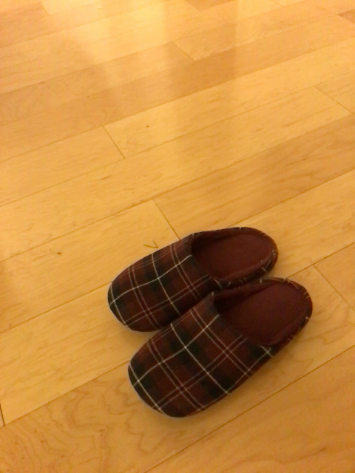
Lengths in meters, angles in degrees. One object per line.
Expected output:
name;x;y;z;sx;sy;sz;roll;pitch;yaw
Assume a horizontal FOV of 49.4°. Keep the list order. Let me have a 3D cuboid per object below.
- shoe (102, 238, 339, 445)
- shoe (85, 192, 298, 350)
shoe;0.057;0.118;0.490;0.271;0.050;0.120;-29;55;-18
shoe;0.019;0.039;0.537;0.260;0.050;0.121;-23;53;-14
